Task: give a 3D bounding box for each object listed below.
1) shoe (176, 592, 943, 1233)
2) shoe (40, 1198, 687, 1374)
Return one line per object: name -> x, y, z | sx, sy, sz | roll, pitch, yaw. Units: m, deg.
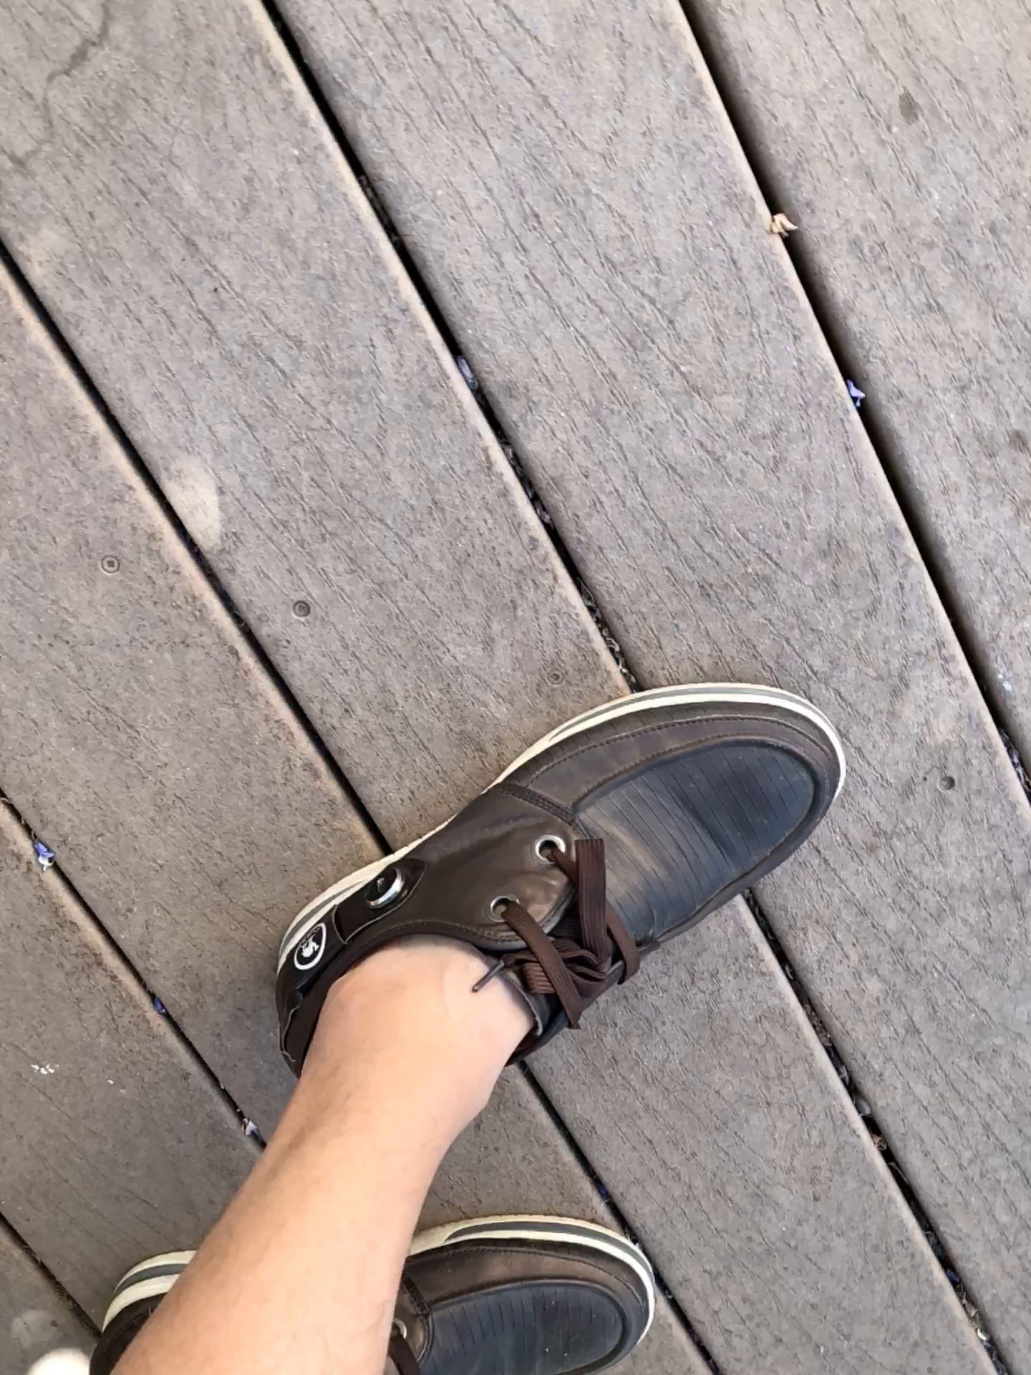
shoe -> 0.013, 0.091, 0.477 | 0.283, 0.096, 0.104 | -34, 105, 8
shoe -> -0.065, 0.325, 0.543 | 0.276, 0.090, 0.104 | -1, 107, -2
